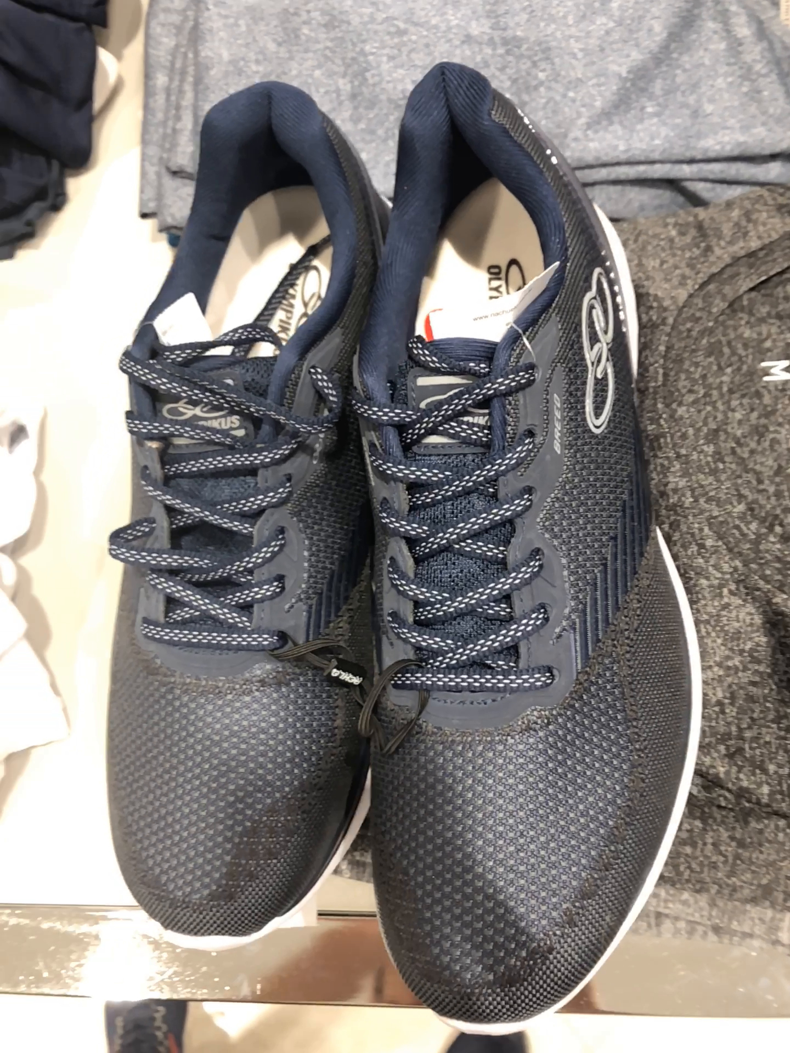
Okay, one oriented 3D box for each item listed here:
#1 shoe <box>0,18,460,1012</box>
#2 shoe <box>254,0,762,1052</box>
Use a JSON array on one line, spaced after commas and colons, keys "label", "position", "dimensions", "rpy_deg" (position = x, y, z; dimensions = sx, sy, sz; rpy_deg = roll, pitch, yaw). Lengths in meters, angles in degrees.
[{"label": "shoe", "position": [-0.053, -0.009, 0.325], "dimensions": [0.120, 0.130, 0.290], "rpy_deg": [3, 79, 11]}, {"label": "shoe", "position": [0.043, 0.001, 0.299], "dimensions": [0.120, 0.130, 0.290], "rpy_deg": [-6, 77, 25]}]
